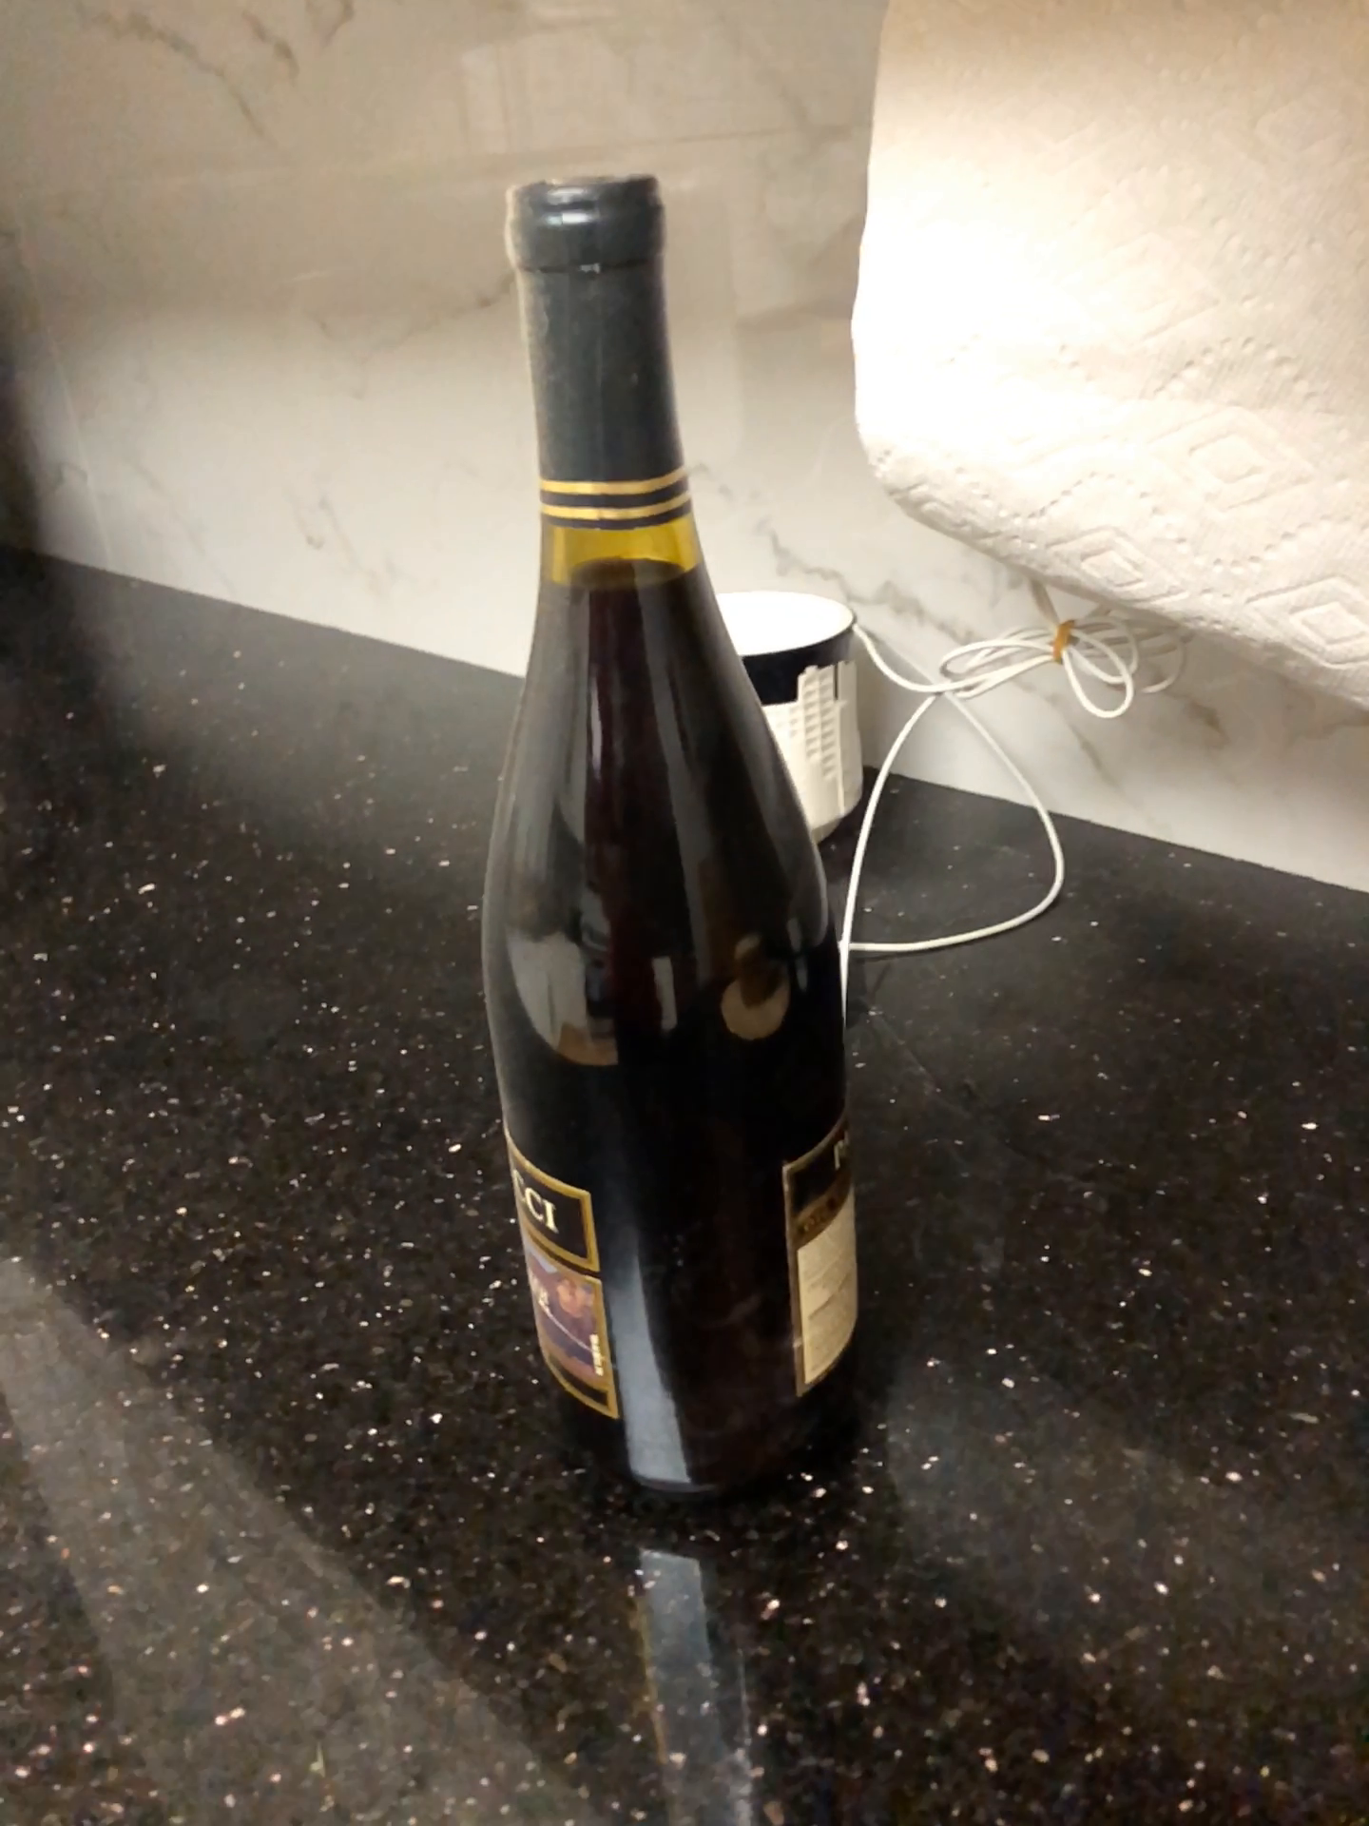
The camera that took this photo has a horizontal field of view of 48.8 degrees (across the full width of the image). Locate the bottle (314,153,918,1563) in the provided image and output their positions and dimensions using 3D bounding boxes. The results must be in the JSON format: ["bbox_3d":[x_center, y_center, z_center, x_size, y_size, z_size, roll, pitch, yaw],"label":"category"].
[{"bbox_3d":[-0.003,0.000,0.340,0.090,0.298,0.090,-4,27,2],"label":"bottle"}]
